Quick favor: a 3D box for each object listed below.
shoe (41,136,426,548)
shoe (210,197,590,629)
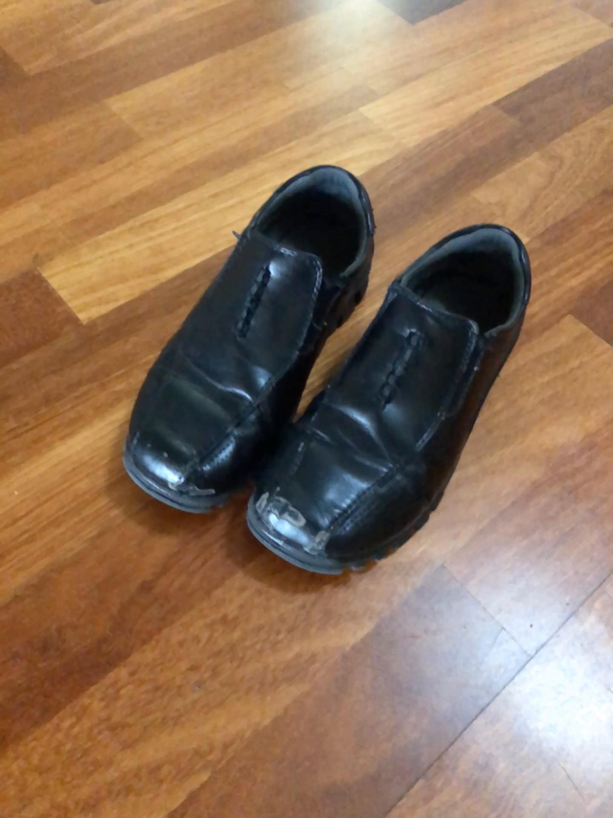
[{"bbox_3d":[-0.029,-0.050,0.396,0.094,0.075,0.233,28,59,12],"label":"shoe"},{"bbox_3d":[0.058,-0.009,0.380,0.091,0.075,0.233,32,61,15],"label":"shoe"}]
